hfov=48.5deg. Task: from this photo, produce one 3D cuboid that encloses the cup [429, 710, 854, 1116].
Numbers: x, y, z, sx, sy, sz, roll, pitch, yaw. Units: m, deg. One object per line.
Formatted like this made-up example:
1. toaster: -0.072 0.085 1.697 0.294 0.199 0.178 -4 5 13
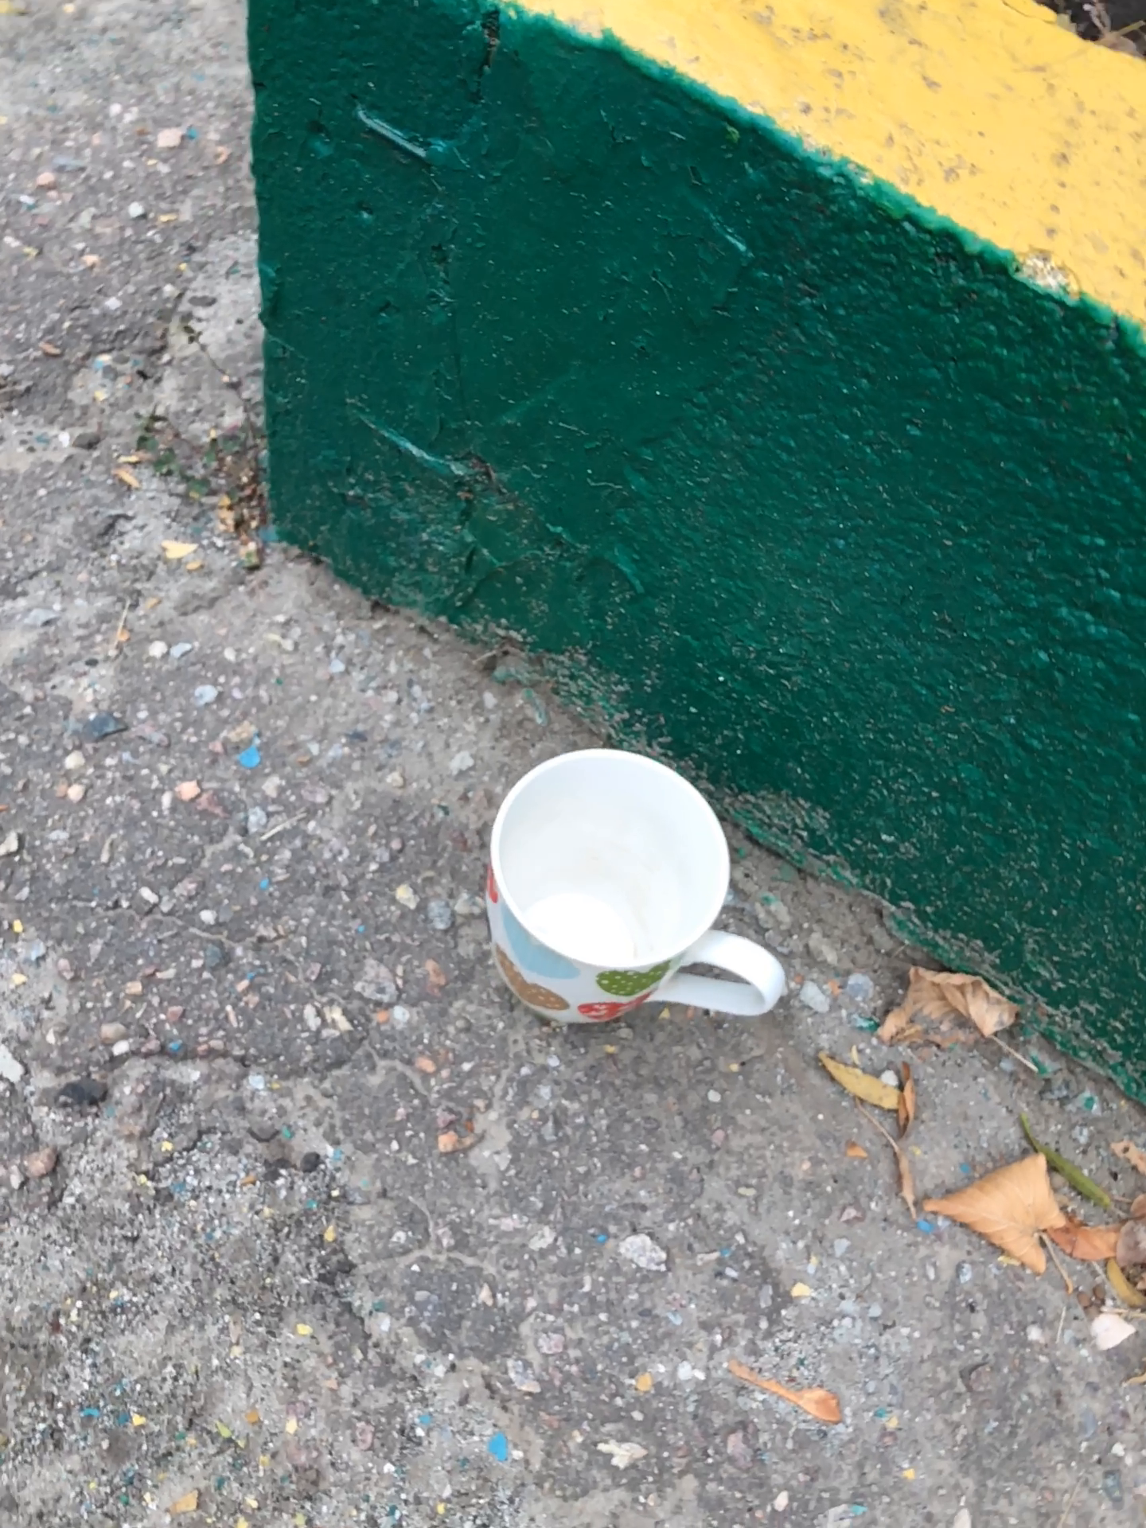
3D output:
1. cup: 0.022 0.055 0.450 0.116 0.079 0.082 22 59 0
